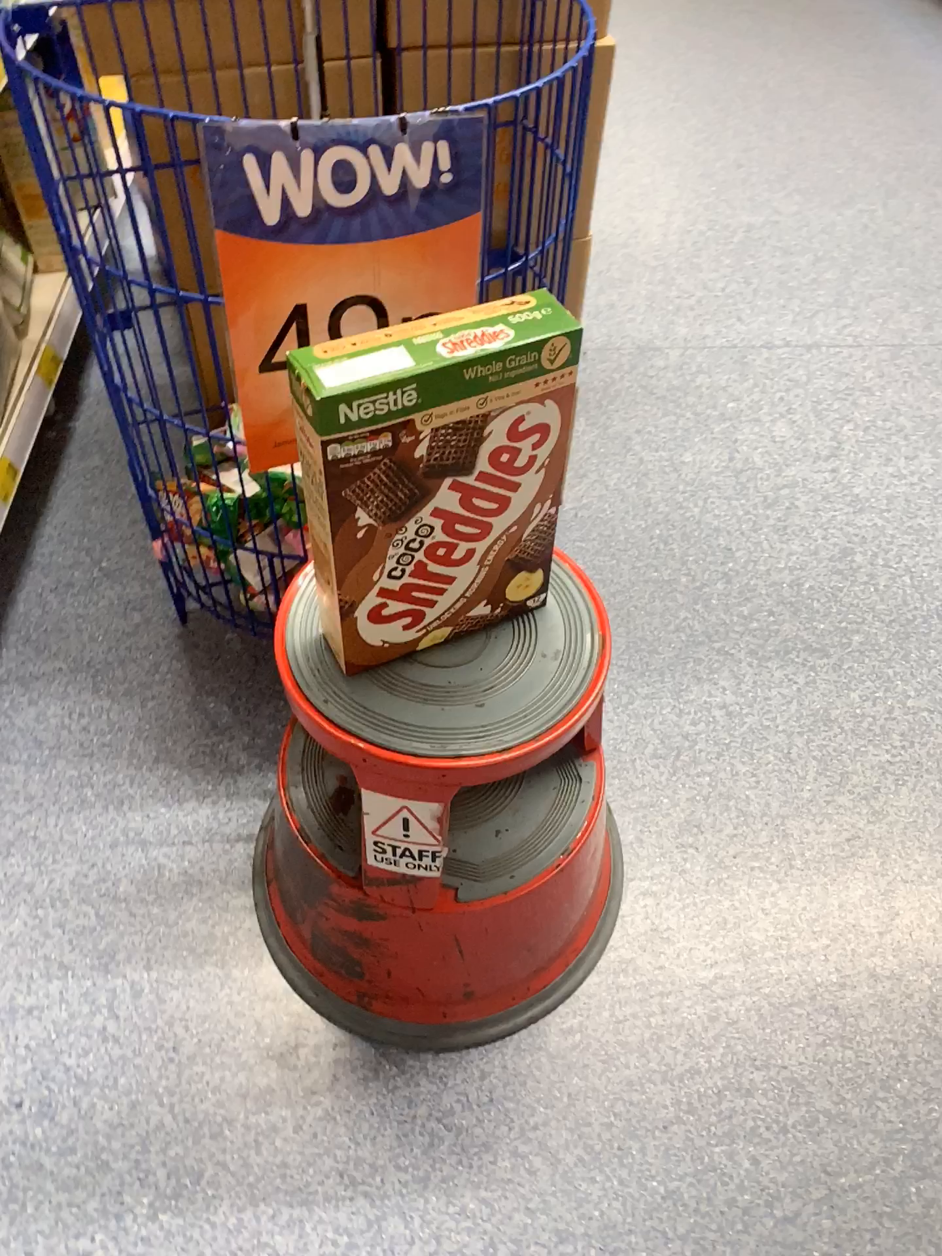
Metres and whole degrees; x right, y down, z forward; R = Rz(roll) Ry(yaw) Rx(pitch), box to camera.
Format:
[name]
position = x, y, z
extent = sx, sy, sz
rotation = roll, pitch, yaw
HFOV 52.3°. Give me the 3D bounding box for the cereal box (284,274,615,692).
[cereal box]
position = -0.016, -0.097, 0.715
extent = 0.200, 0.277, 0.071
rotation = -20, 52, -19
